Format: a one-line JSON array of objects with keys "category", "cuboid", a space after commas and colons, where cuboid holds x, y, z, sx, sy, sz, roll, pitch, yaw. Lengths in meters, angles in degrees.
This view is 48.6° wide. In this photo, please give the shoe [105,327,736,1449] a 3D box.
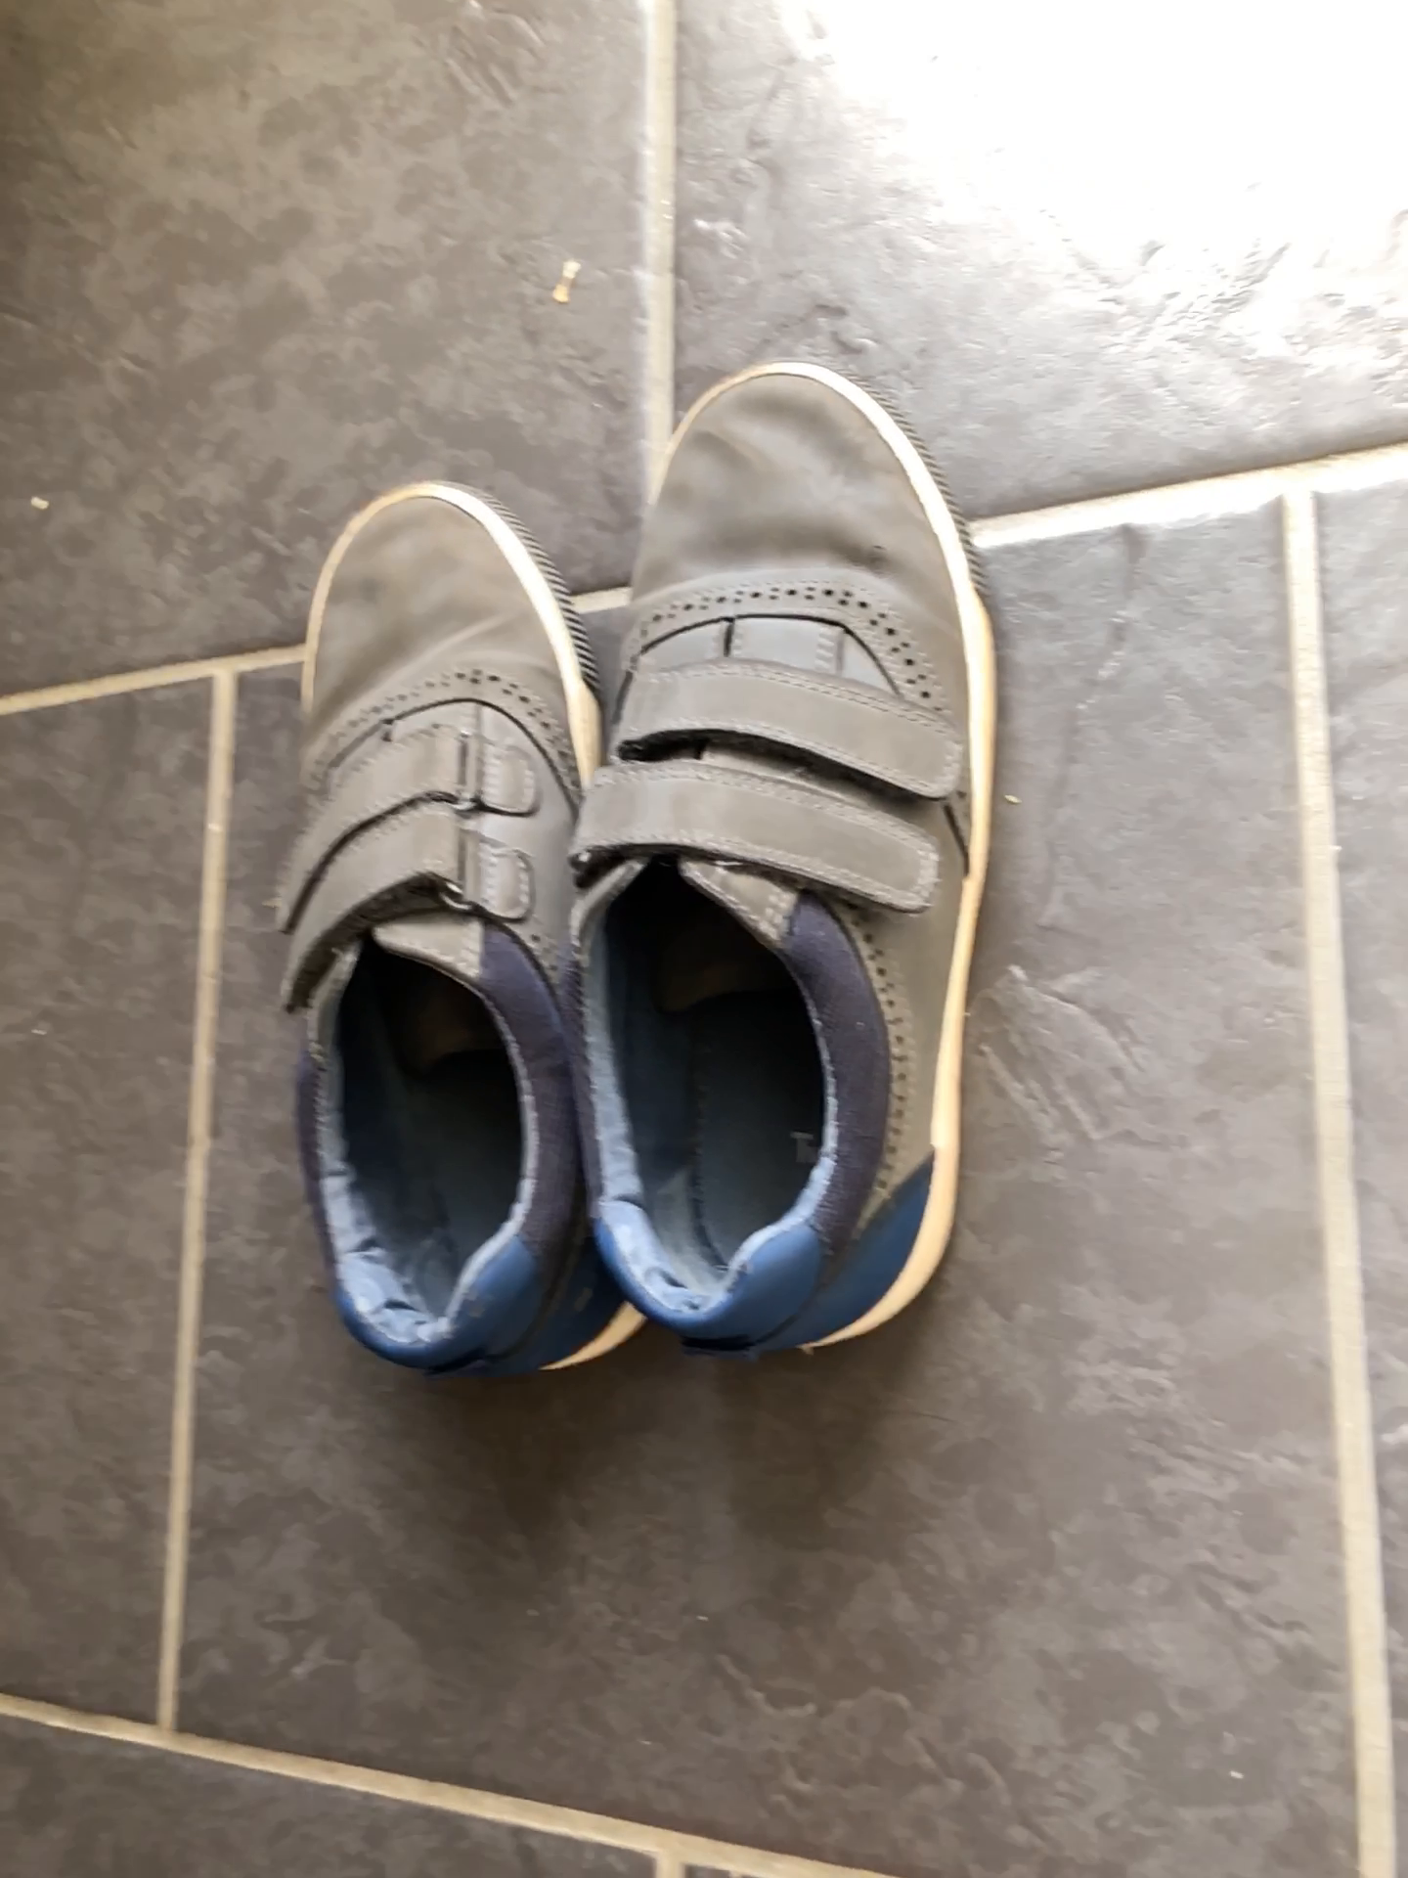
[{"category": "shoe", "cuboid": [-0.077, -0.012, 0.399, 0.100, 0.070, 0.250, -18, 74, 23]}]

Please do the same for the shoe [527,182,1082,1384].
[{"category": "shoe", "cuboid": [0.021, -0.030, 0.366, 0.100, 0.070, 0.250, -7, 79, 25]}]
